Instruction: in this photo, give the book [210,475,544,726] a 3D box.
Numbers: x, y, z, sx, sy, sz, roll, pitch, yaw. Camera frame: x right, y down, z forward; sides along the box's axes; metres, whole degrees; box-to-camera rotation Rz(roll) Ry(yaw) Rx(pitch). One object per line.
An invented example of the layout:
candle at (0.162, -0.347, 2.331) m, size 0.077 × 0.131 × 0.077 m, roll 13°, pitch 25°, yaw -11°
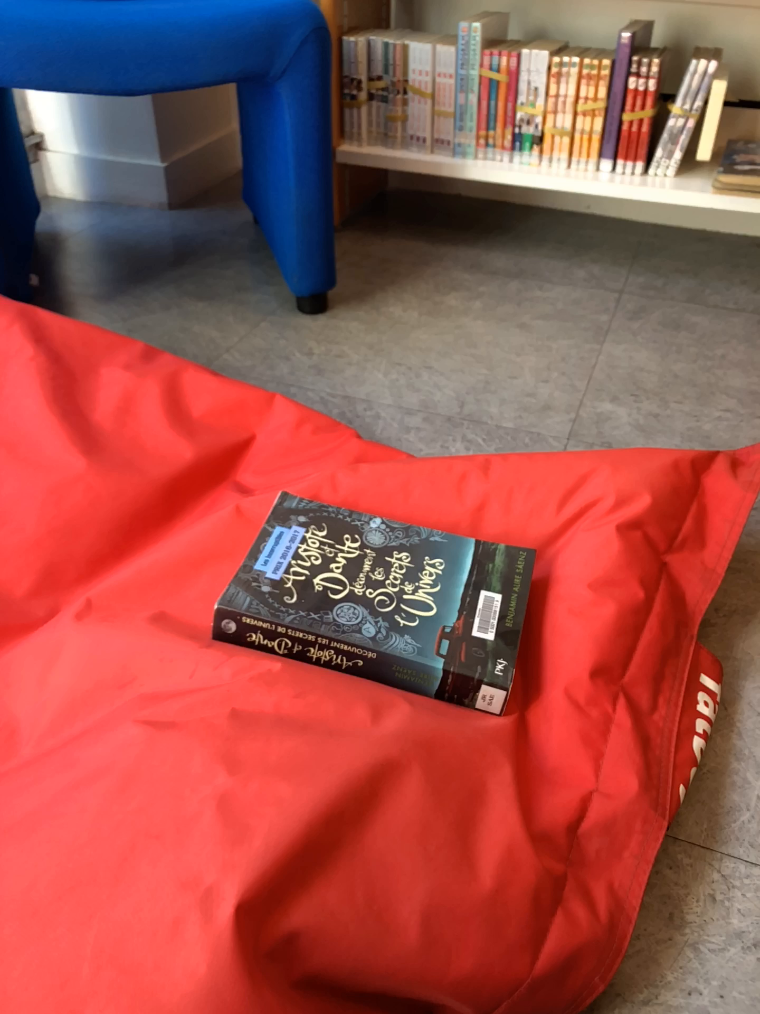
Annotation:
book at (0.003, 0.066, 0.664) m, size 0.228 × 0.048 × 0.149 m, roll 14°, pitch 44°, yaw 7°
